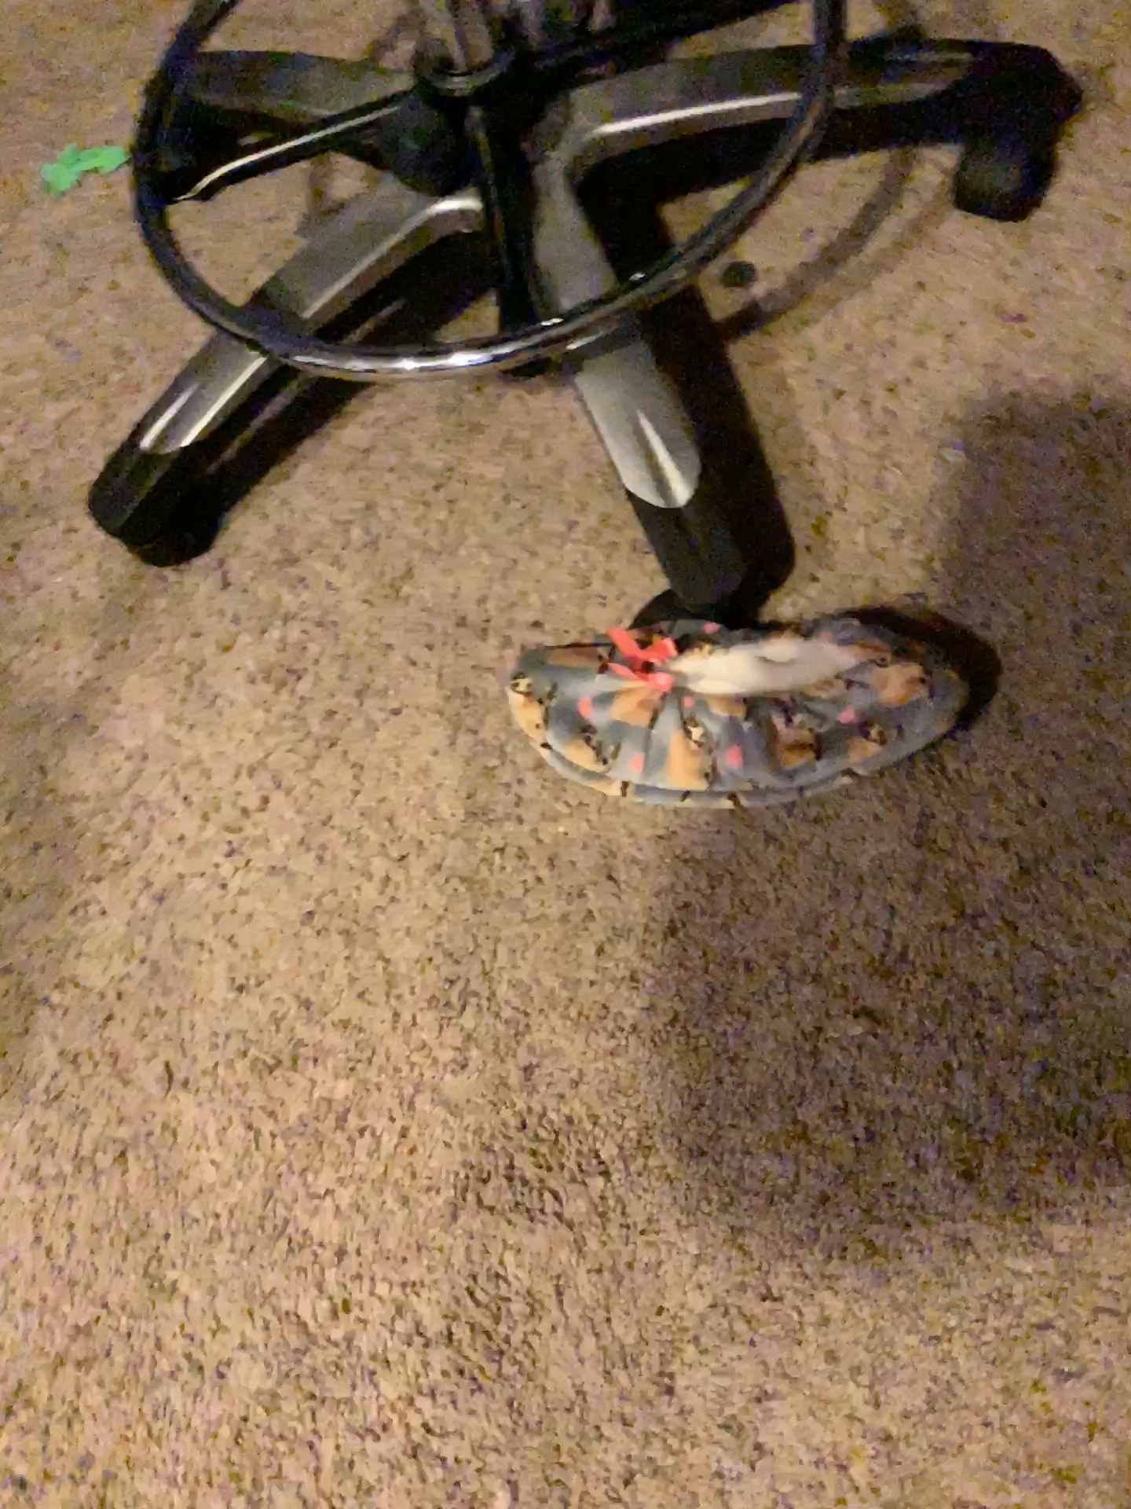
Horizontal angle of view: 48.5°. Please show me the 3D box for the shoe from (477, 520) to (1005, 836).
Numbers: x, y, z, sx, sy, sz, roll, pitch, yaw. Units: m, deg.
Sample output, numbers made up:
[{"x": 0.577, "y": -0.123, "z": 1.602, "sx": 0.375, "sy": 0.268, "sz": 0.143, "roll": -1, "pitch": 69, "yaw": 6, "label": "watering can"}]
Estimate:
[{"x": 0.088, "y": -0.037, "z": 0.674, "sx": 0.260, "sy": 0.070, "sz": 0.120, "roll": -6, "pitch": 65, "yaw": 12, "label": "shoe"}]
